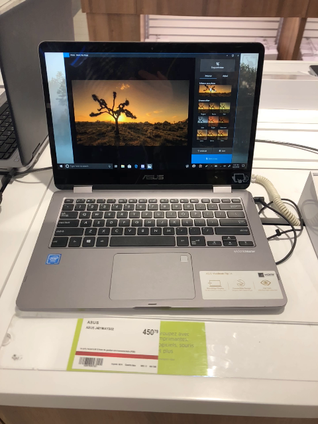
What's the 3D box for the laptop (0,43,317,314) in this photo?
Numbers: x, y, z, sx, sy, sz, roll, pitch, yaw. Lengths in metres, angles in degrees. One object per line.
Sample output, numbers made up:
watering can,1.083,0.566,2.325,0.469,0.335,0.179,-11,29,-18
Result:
laptop,-0.008,-0.062,0.451,0.319,0.211,0.291,-1,41,-2
